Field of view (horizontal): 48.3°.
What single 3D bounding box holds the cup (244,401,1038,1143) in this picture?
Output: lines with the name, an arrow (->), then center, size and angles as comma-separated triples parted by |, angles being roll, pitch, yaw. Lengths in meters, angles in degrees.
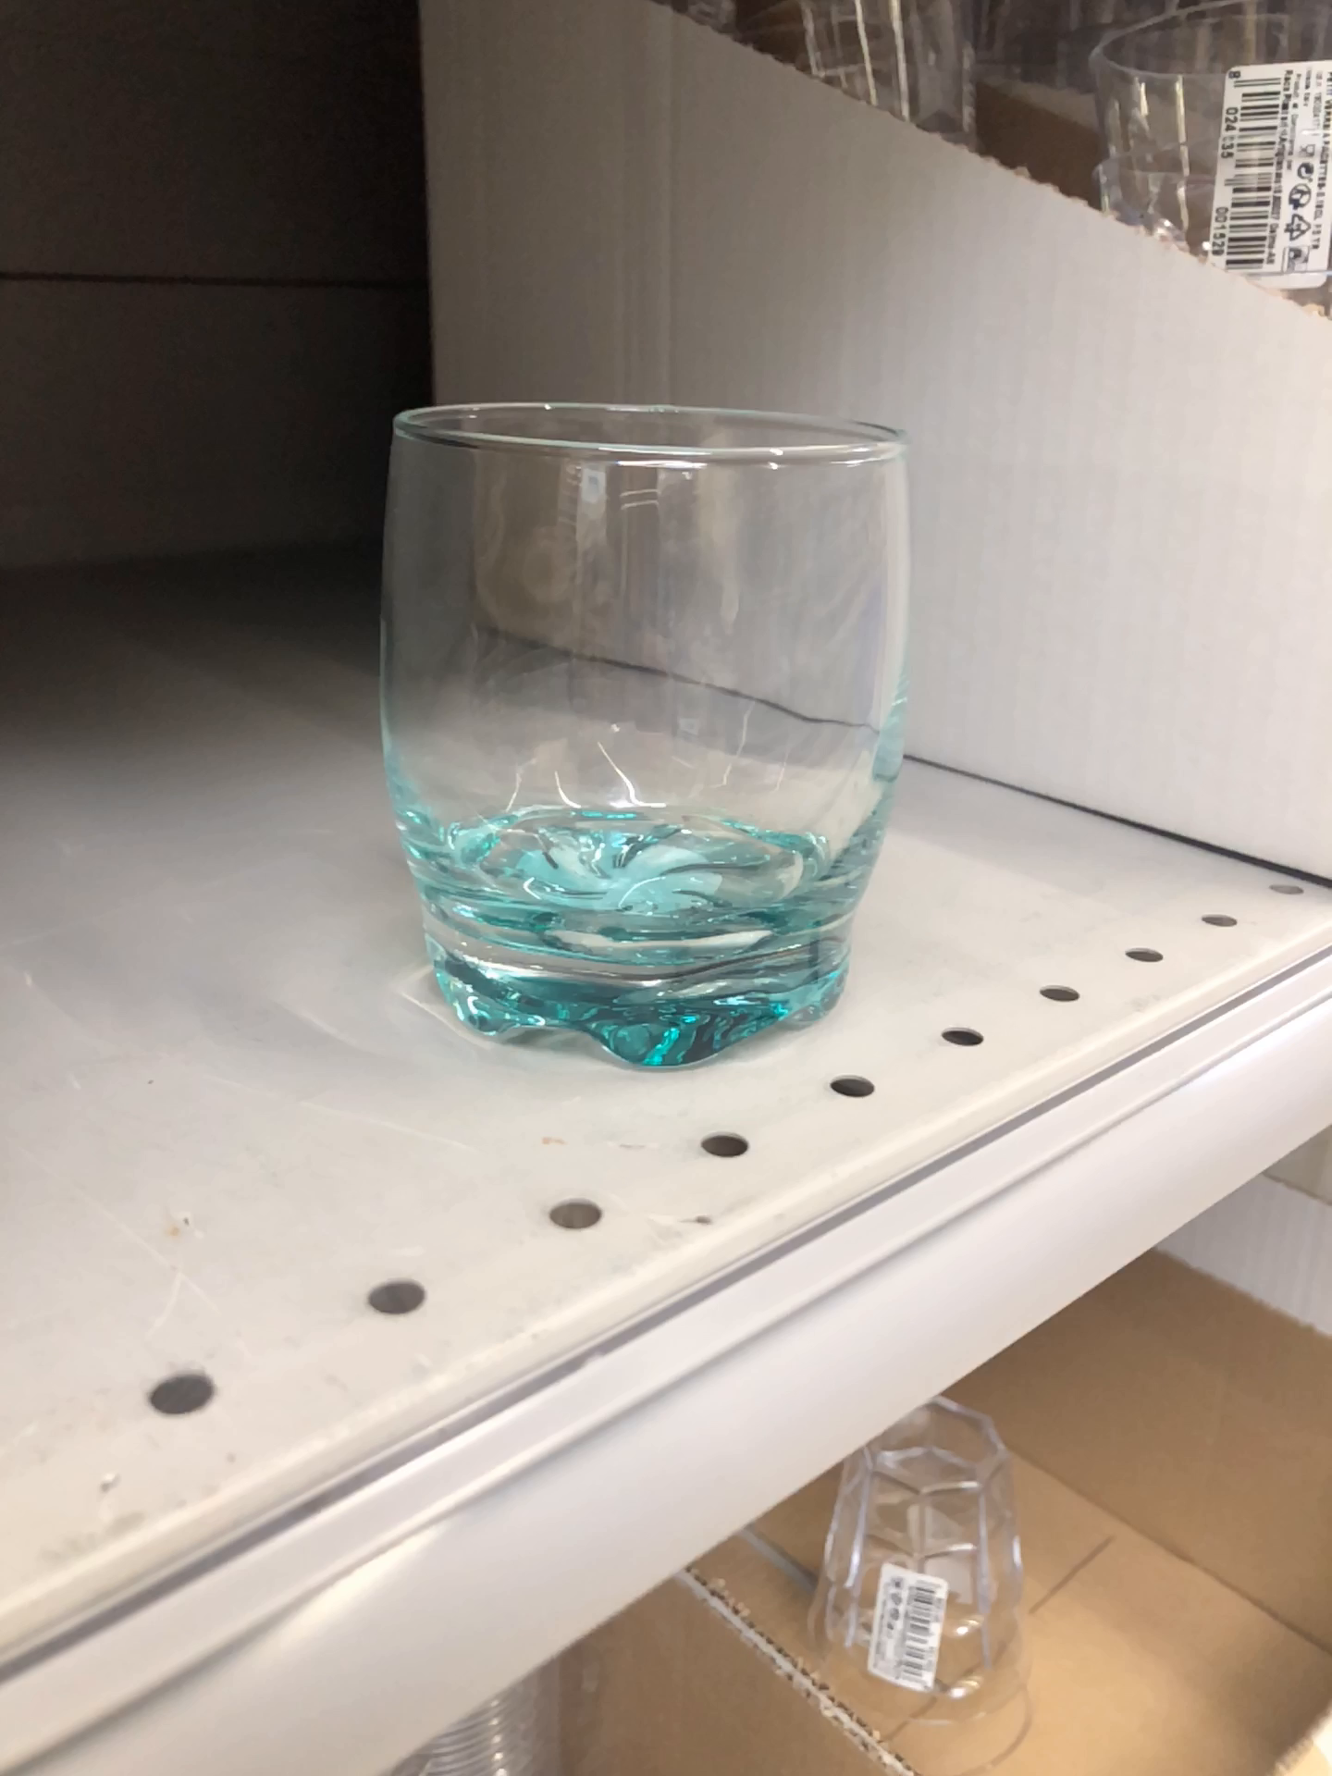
cup -> -0.007, -0.026, 0.220 | 0.083, 0.082, 0.074 | -12, 25, -34
